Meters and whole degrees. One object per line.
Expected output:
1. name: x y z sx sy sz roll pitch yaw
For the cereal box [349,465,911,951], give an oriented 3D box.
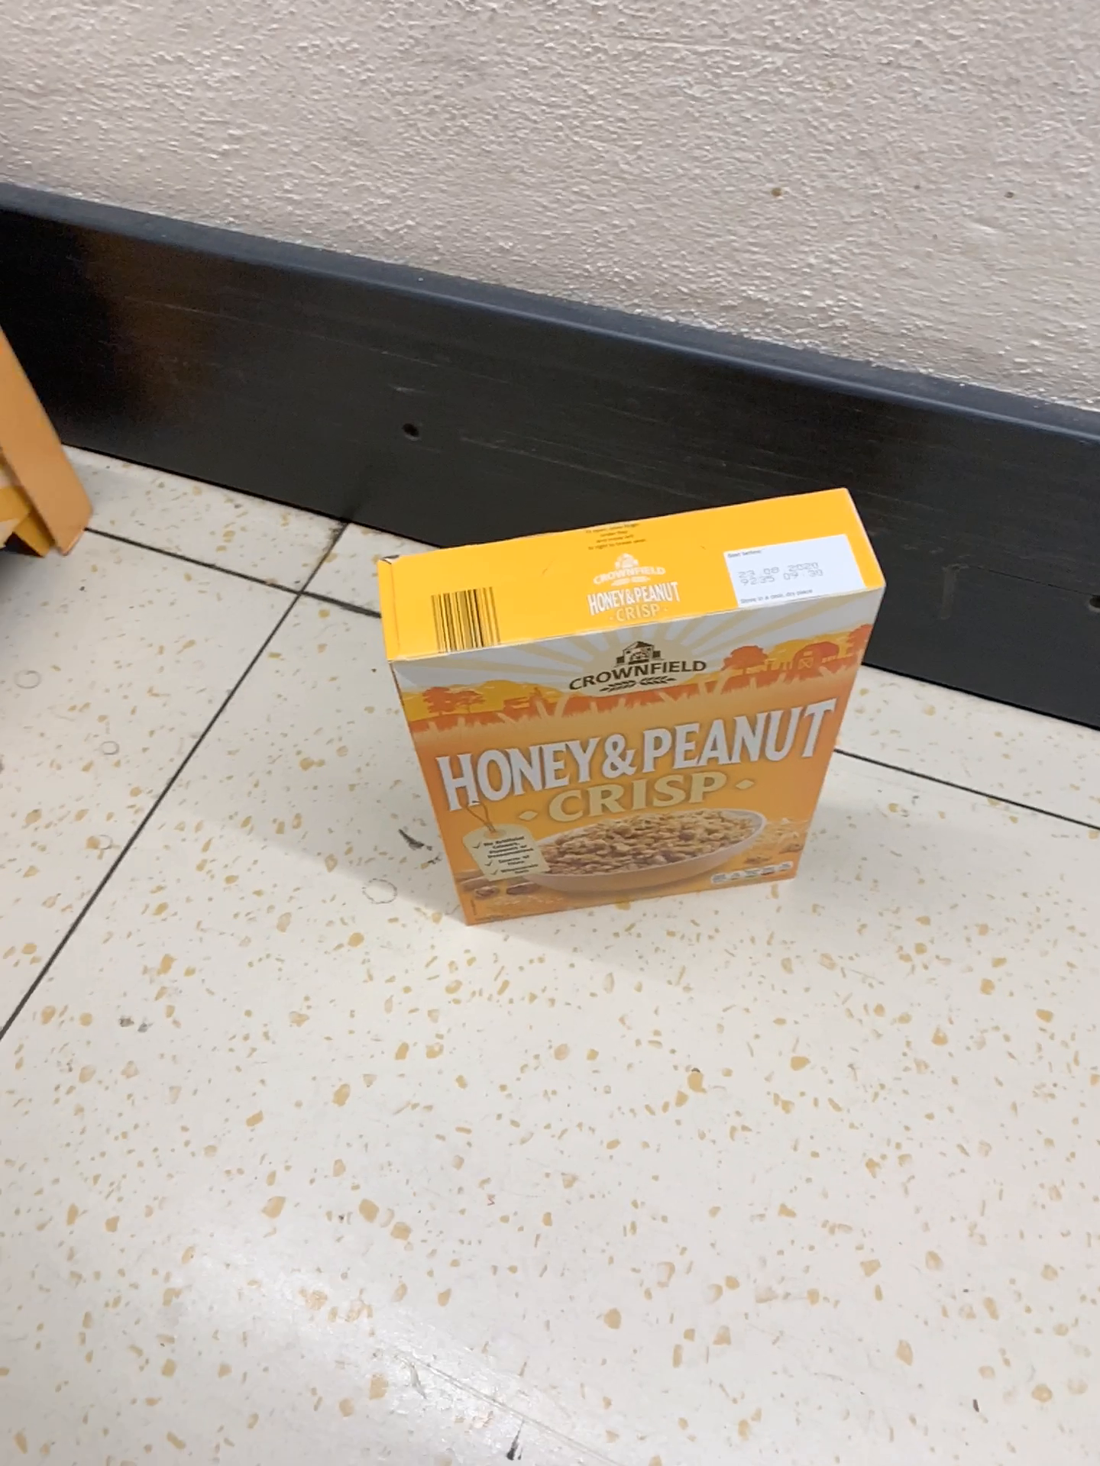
1. cereal box: 0.032 0.009 0.508 0.190 0.268 0.050 -9 58 -3
